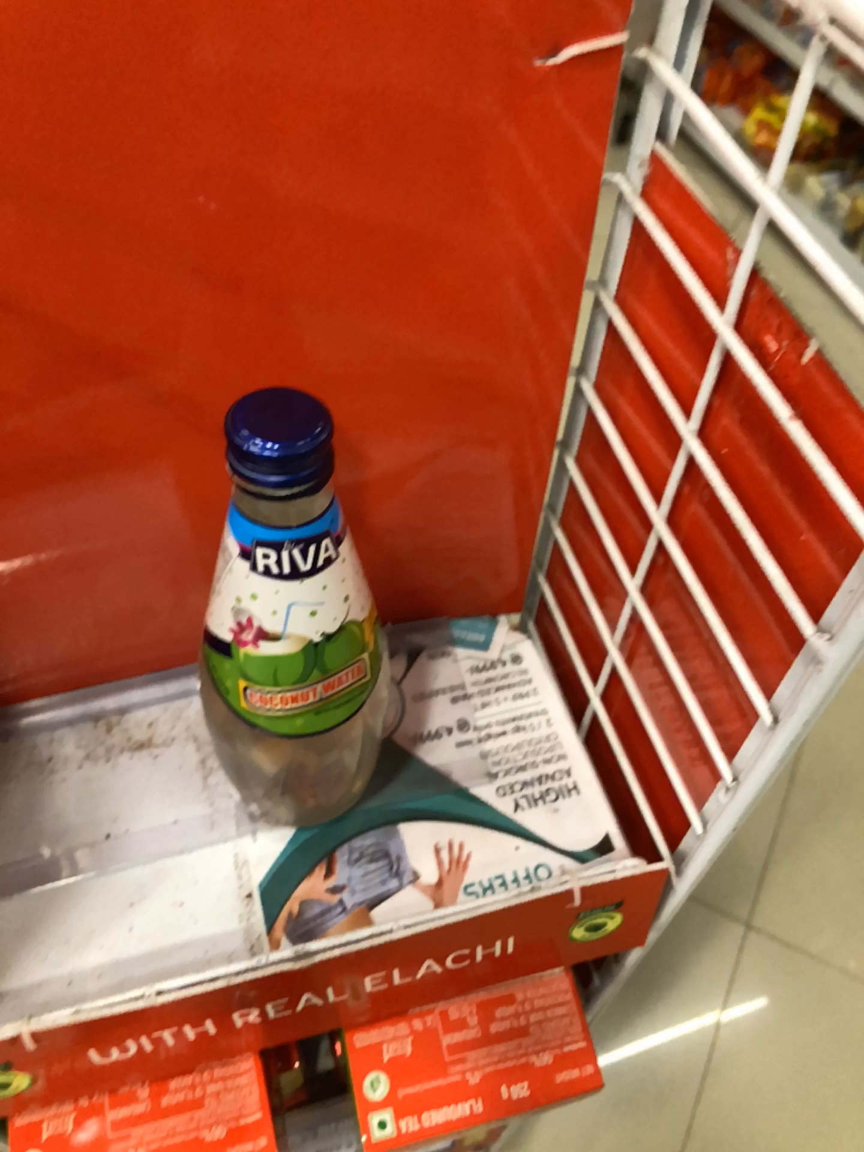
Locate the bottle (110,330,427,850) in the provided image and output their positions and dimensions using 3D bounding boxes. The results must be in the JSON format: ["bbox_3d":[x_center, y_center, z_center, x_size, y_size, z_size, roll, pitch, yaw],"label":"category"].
[{"bbox_3d":[-0.048,0.016,0.318,0.070,0.179,0.060,-12,53,-14],"label":"bottle"}]
